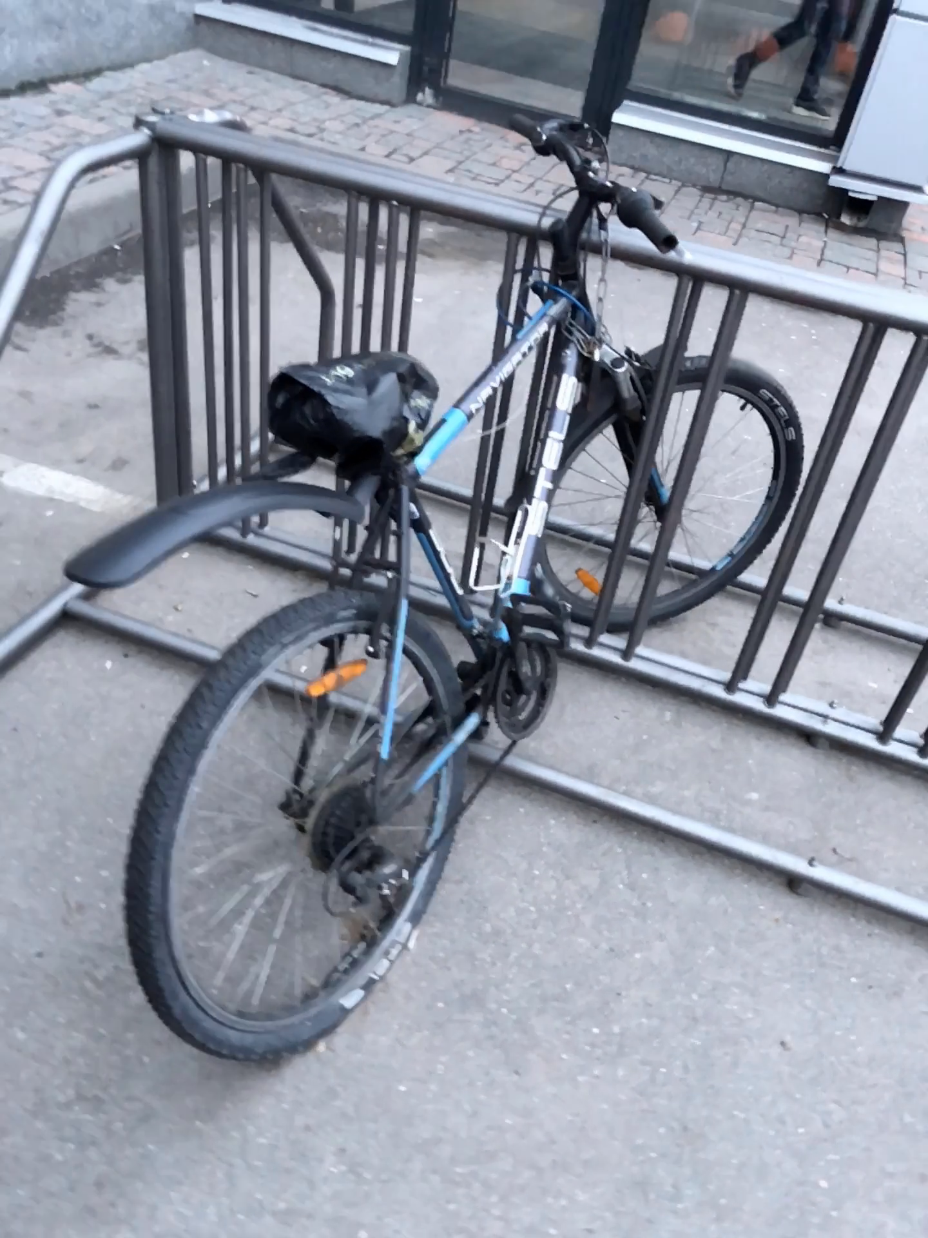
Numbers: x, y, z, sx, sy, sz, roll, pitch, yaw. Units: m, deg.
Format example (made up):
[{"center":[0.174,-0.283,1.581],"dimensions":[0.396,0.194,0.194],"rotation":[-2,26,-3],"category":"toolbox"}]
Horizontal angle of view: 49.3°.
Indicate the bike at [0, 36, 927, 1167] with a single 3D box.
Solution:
[{"center":[0.037,-0.173,1.590],"dimensions":[0.535,1.050,1.591],"rotation":[33,46,26],"category":"bike"}]
